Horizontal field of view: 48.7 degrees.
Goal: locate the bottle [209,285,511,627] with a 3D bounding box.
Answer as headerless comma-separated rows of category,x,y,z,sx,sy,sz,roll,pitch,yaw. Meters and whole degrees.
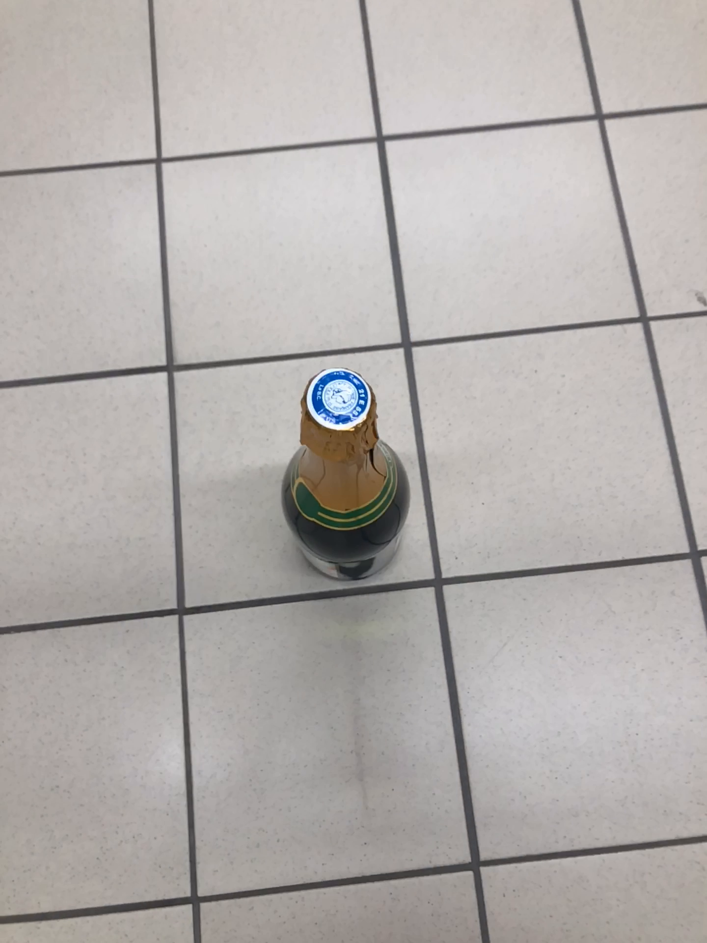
bottle,0.004,0.018,0.473,0.090,0.299,0.090,0,75,1
